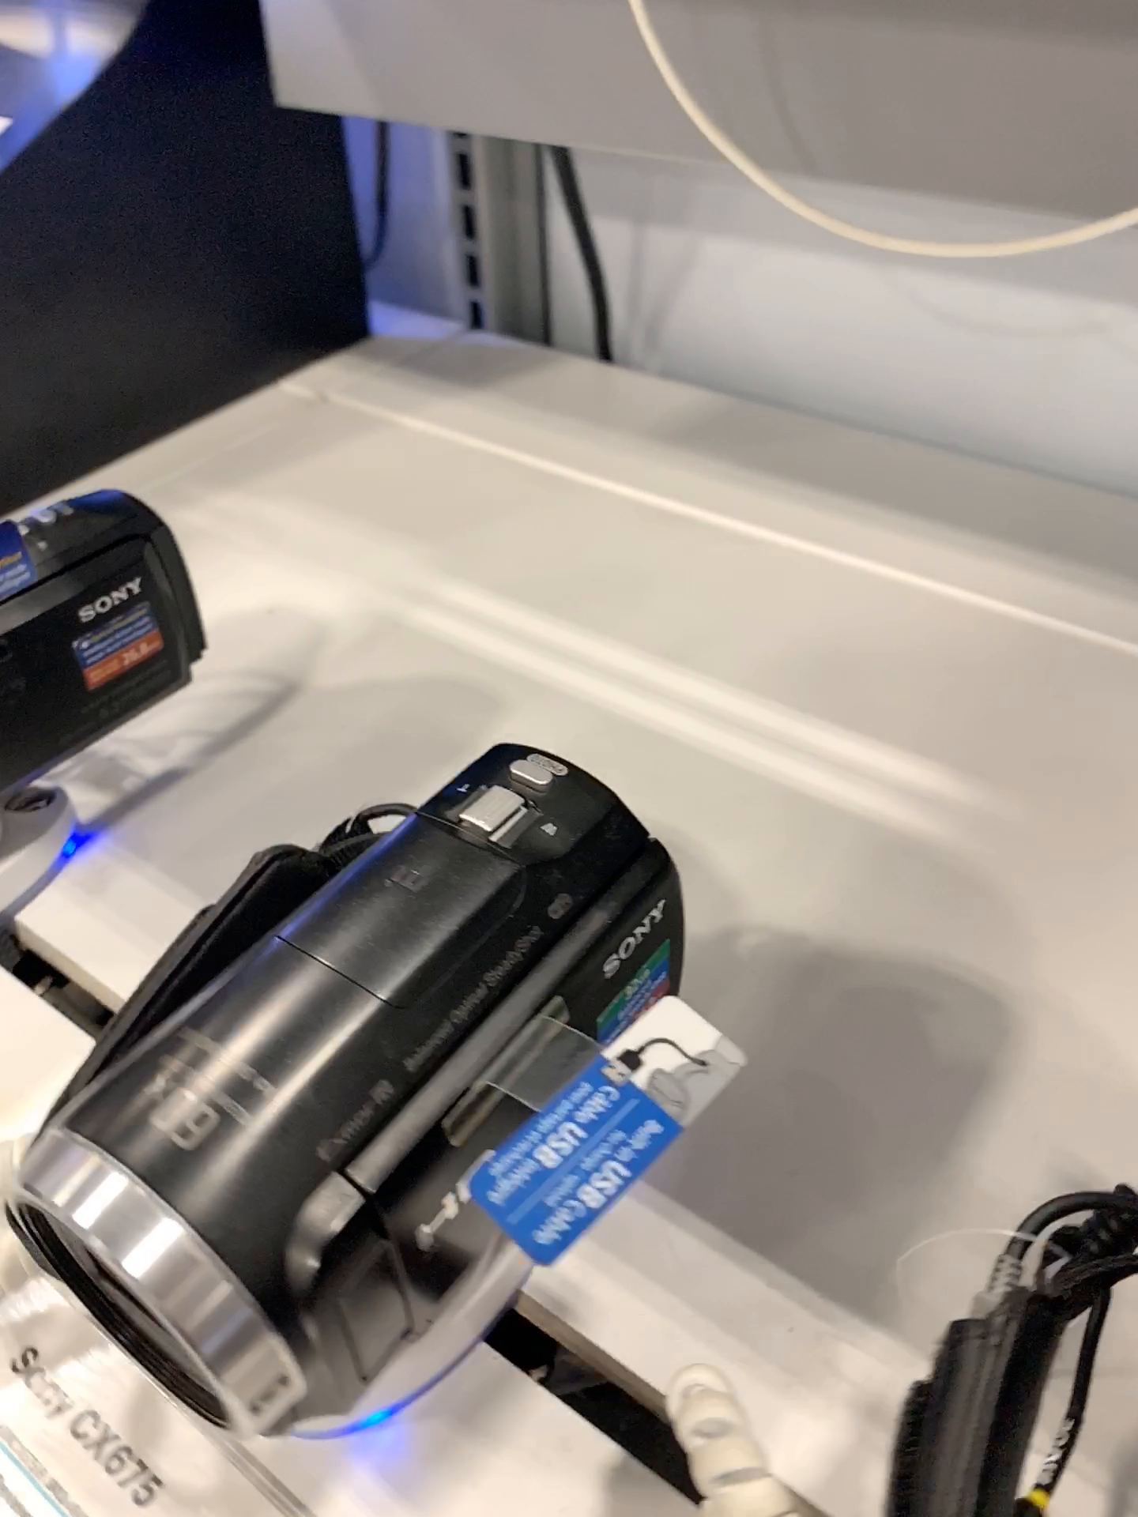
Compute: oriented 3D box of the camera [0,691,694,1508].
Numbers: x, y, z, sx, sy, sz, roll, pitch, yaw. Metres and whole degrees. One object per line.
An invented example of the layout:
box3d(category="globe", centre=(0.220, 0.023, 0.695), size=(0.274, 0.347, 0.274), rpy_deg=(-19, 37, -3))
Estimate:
box3d(category="camera", centre=(-0.032, 0.050, 0.206), size=(0.053, 0.060, 0.113), rpy_deg=(24, 47, 27))
